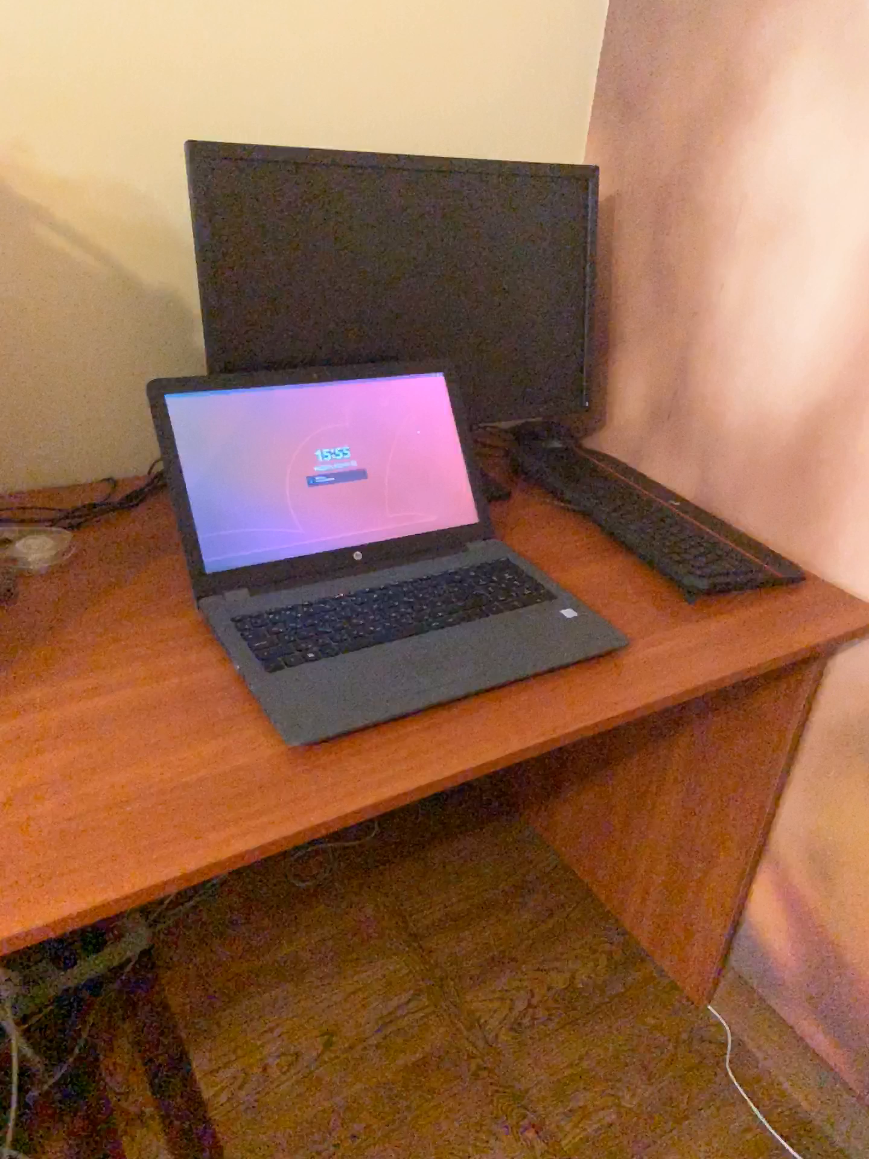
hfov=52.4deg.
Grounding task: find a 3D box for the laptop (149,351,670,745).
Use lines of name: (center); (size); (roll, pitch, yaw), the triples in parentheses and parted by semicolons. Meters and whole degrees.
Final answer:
laptop: (-0.046, -0.072, 0.890); (0.366, 0.181, 0.376); (-12, 35, -30)
